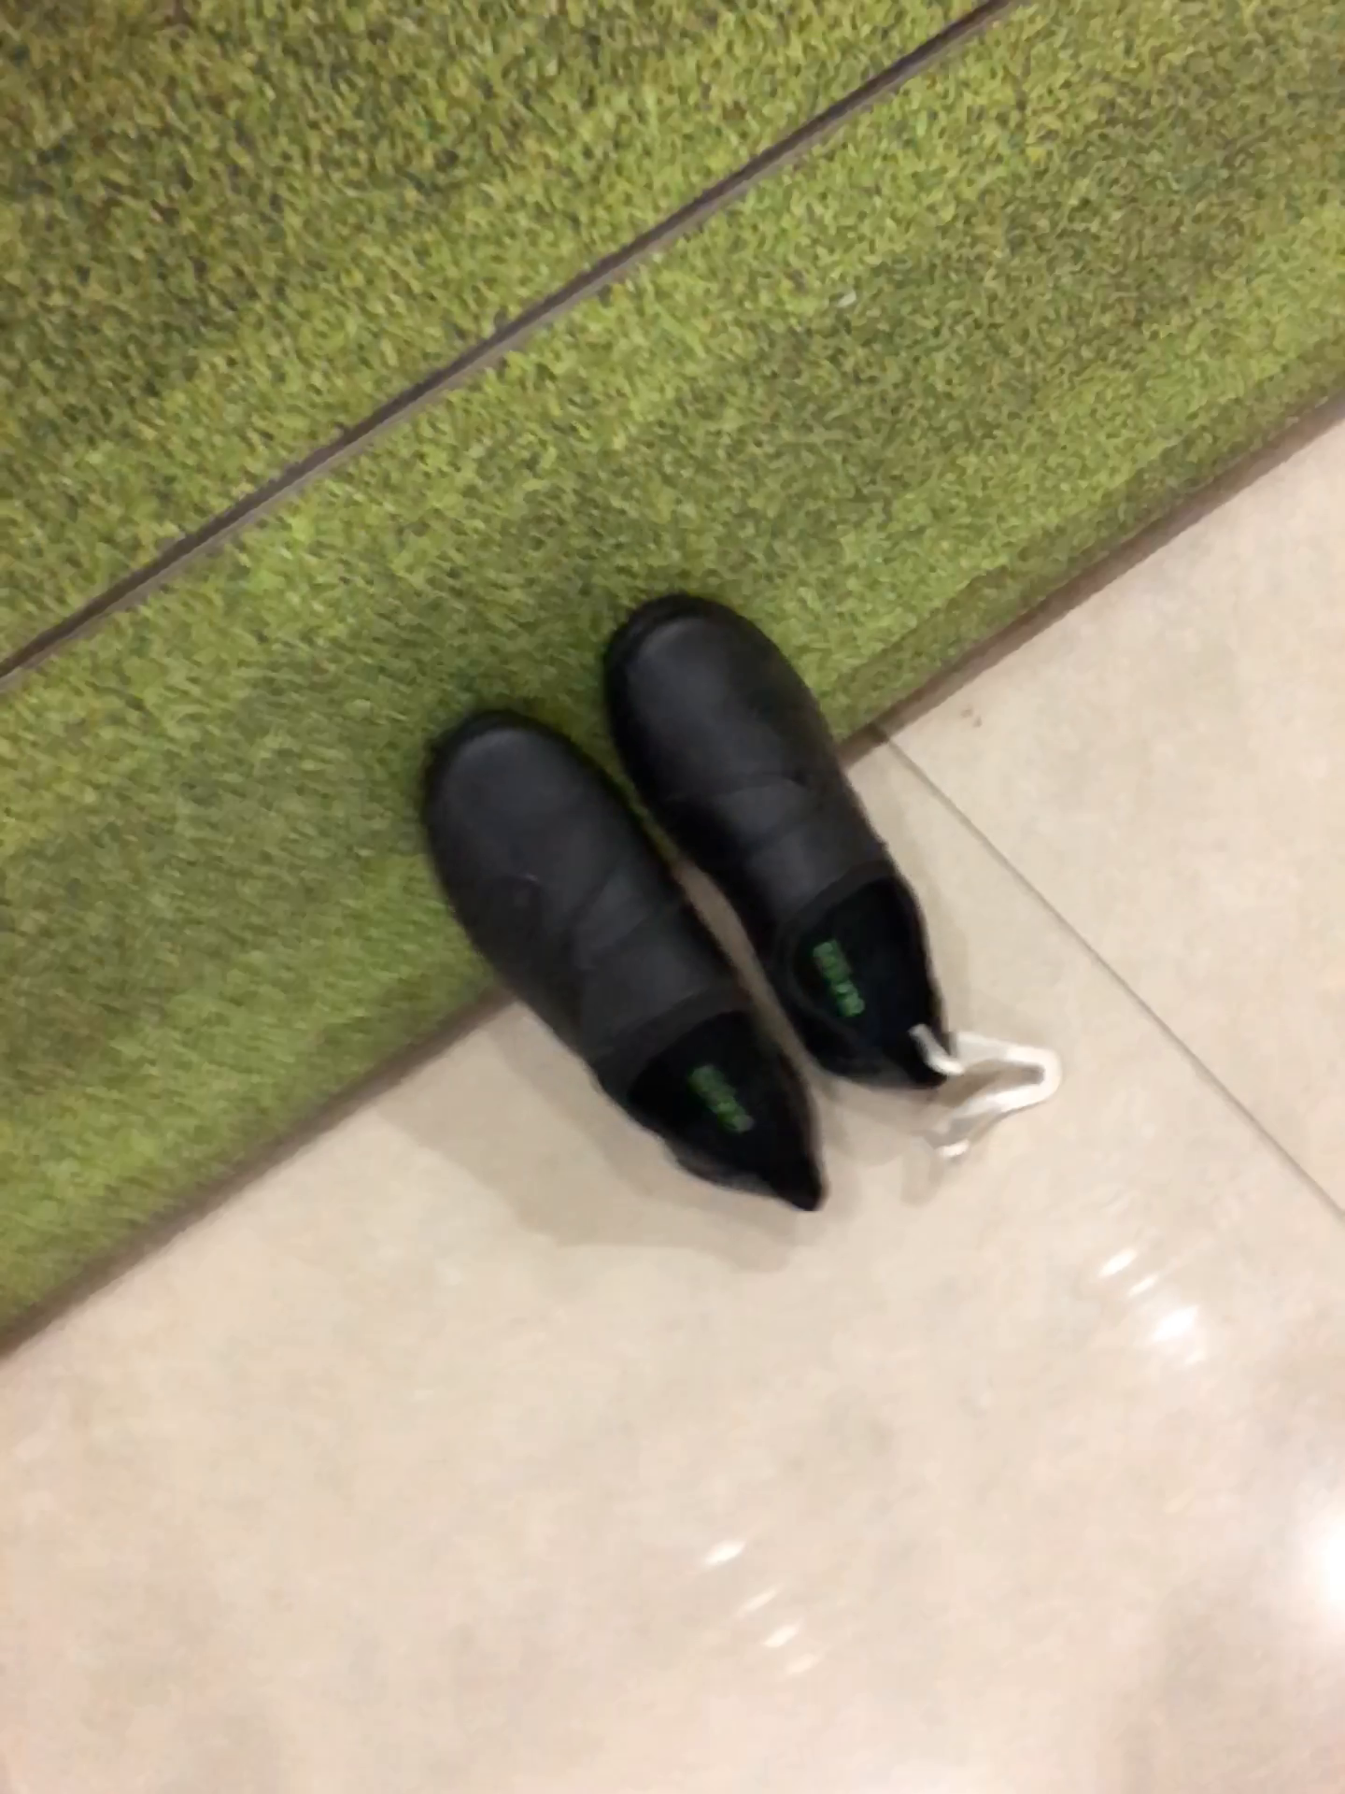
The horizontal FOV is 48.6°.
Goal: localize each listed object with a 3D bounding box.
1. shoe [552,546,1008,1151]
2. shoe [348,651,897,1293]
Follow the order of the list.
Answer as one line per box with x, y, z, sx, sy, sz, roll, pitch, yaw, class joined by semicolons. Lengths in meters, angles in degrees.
0.045;-0.016;0.595;0.074;0.229;0.067;-31;24;-1;shoe
-0.023;0.029;0.624;0.087;0.248;0.107;-36;18;-2;shoe
